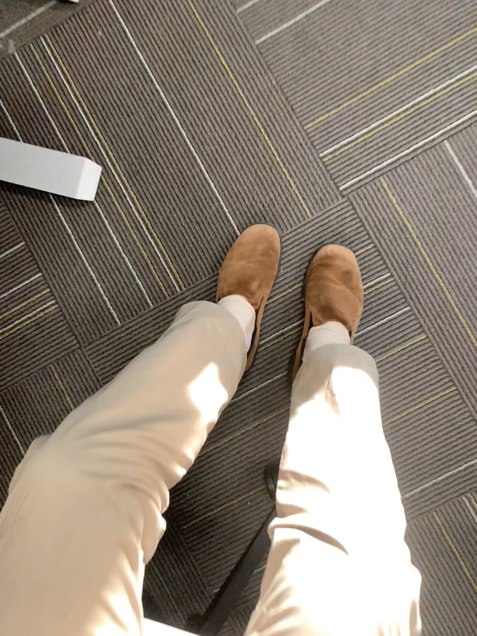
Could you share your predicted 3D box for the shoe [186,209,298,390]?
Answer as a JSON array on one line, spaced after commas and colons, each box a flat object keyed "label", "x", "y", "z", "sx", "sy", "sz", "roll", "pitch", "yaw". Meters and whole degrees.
[{"label": "shoe", "x": 0.009, "y": -0.034, "z": 0.925, "sx": 0.119, "sy": 0.077, "sz": 0.307, "roll": 17, "pitch": 92, "yaw": 5}]

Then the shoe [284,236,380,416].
[{"label": "shoe", "x": 0.170, "y": 0.014, "z": 0.913, "sx": 0.120, "sy": 0.077, "sz": 0.307, "roll": 10, "pitch": 91, "yaw": 6}]
